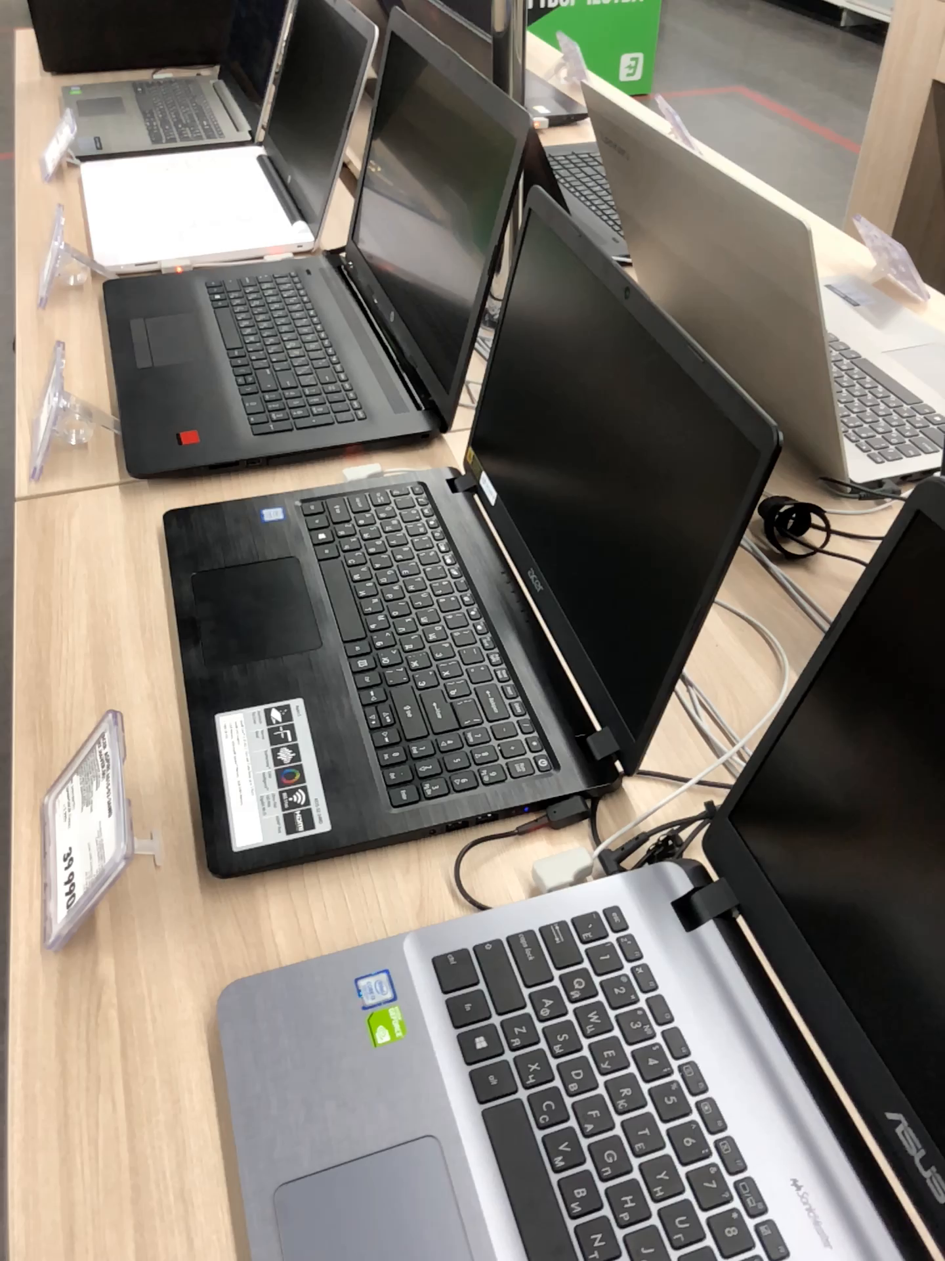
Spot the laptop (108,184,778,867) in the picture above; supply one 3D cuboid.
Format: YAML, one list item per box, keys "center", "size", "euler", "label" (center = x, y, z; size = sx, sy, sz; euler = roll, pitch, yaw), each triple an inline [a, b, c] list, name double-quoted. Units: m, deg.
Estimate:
- center: [-0.047, -0.094, 0.642]
  size: [0.291, 0.219, 0.347]
  euler: [-11, 42, -12]
  label: "laptop"

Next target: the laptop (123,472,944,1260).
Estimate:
- center: [0.079, 0.155, 0.333]
  size: [0.324, 0.218, 0.328]
  euler: [-12, 41, -10]
  label: "laptop"

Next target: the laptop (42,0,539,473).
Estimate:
- center: [-0.169, -0.380, 0.933]
  size: [0.345, 0.226, 0.355]
  euler: [-15, 46, -14]
  label: "laptop"
